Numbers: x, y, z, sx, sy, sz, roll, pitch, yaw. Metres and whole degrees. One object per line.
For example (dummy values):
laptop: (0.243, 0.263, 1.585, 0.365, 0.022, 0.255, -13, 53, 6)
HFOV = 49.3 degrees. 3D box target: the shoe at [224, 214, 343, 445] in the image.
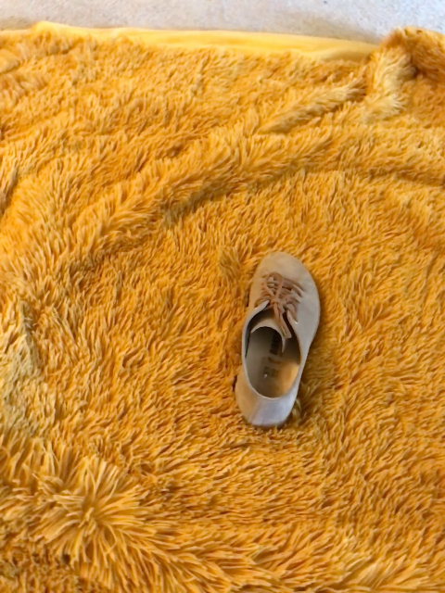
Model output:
shoe: (0.077, 0.028, 0.573, 0.100, 0.070, 0.259, 11, 56, 4)
